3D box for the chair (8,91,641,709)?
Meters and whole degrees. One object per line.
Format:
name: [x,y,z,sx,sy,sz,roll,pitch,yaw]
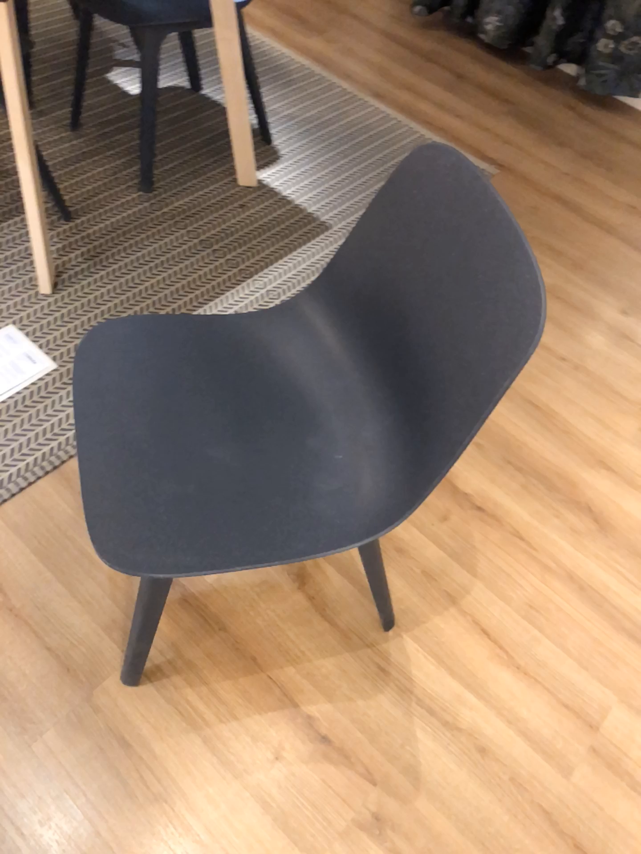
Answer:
chair: [-0.069,-0.004,1.013,0.560,0.728,0.471,-7,55,-15]
